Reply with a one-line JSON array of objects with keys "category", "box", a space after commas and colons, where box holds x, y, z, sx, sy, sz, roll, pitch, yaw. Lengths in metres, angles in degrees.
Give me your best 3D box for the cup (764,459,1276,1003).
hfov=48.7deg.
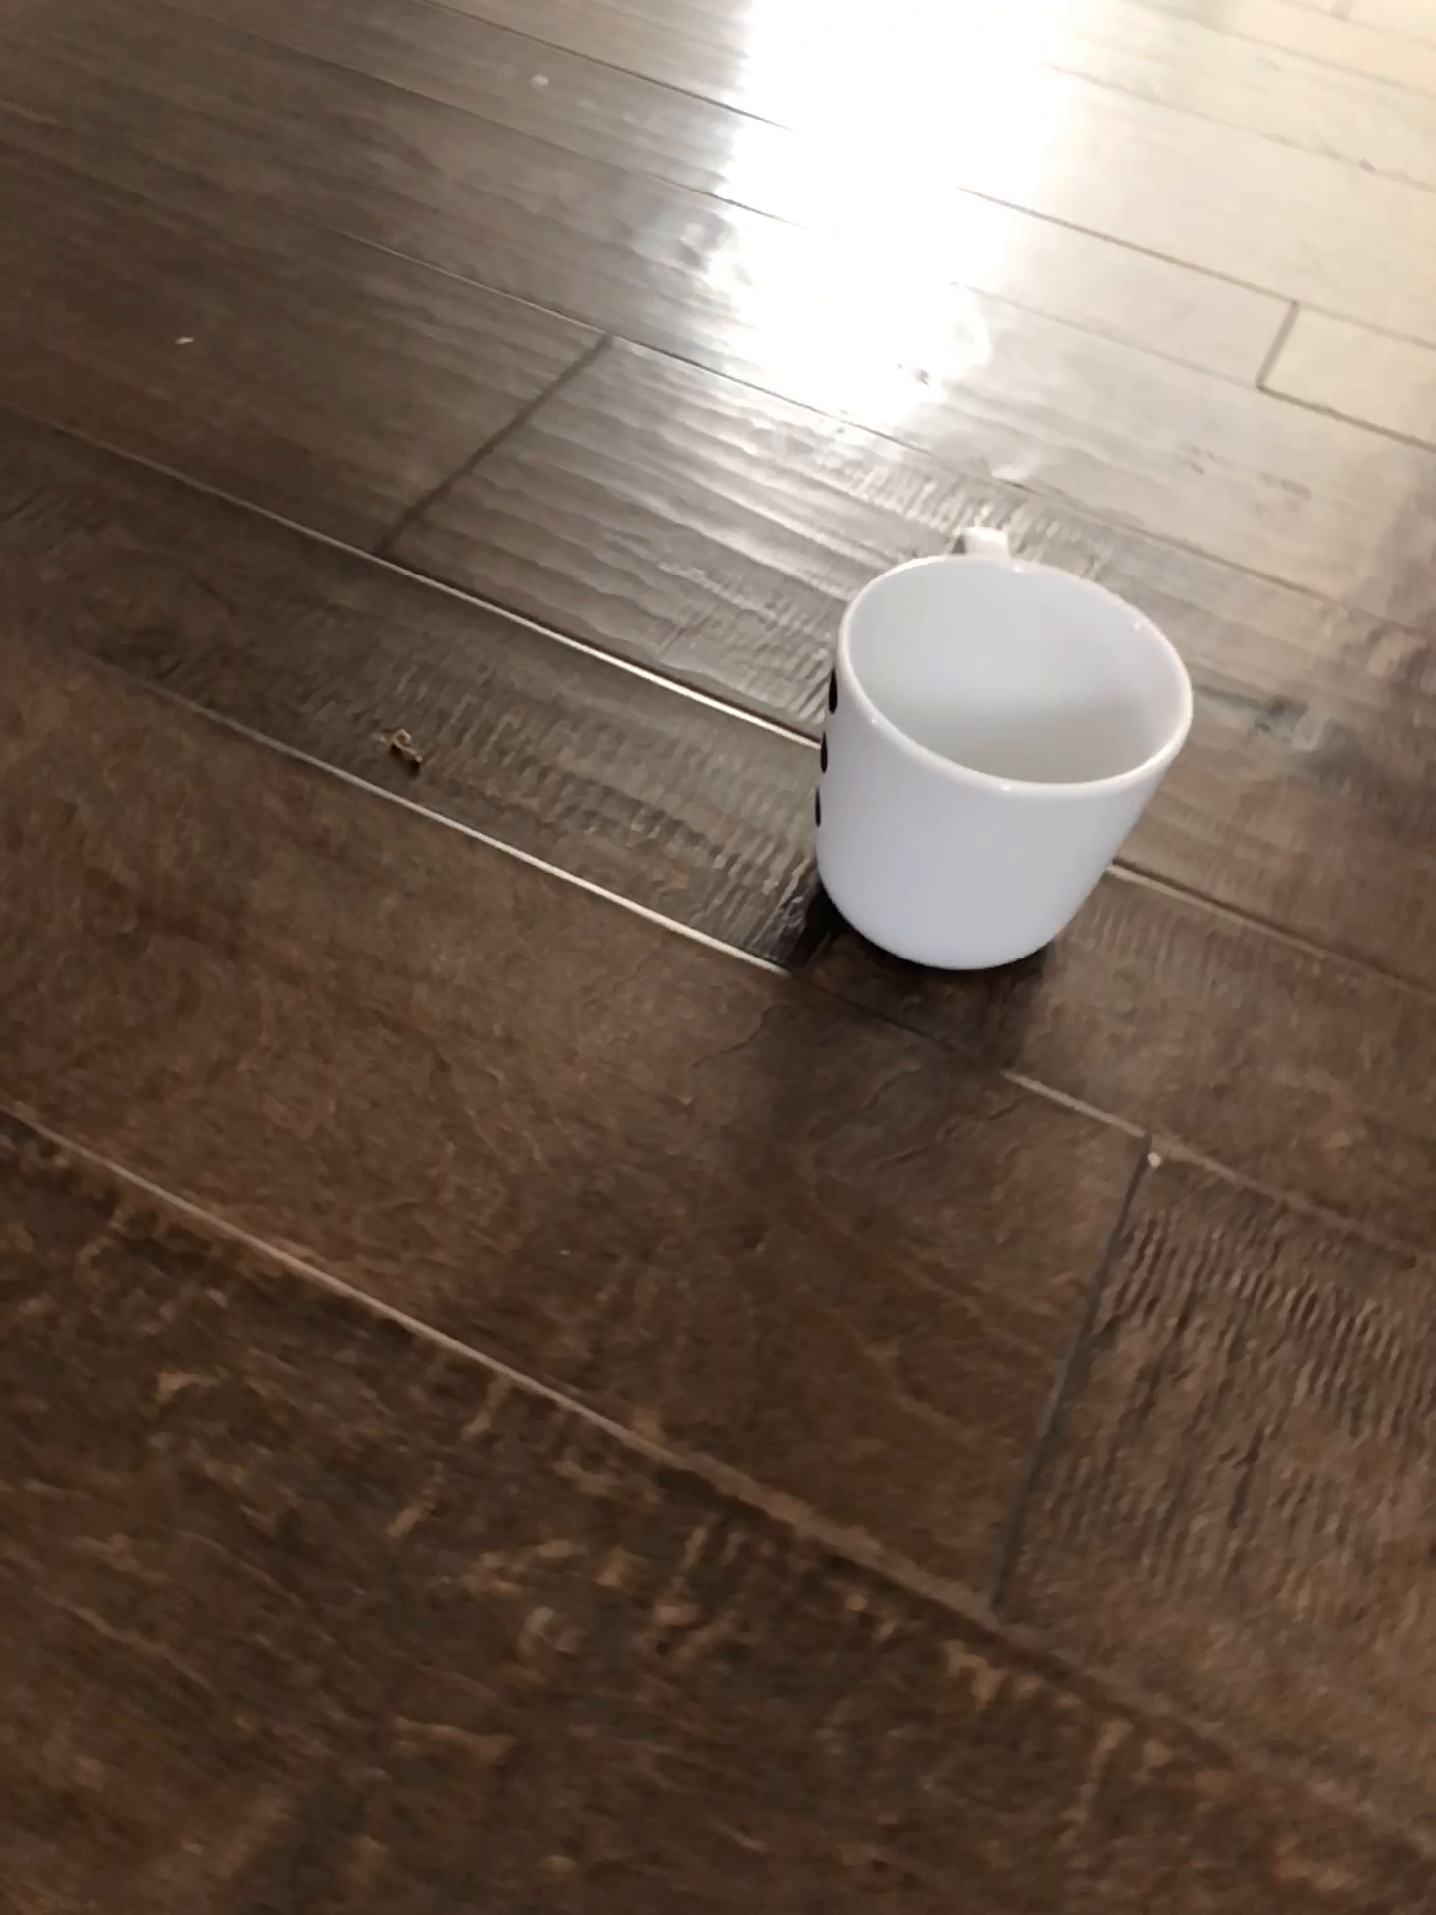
[{"category": "cup", "box": [0.068, -0.058, 0.404, 0.090, 0.079, 0.111, 2, 50, -9]}]
